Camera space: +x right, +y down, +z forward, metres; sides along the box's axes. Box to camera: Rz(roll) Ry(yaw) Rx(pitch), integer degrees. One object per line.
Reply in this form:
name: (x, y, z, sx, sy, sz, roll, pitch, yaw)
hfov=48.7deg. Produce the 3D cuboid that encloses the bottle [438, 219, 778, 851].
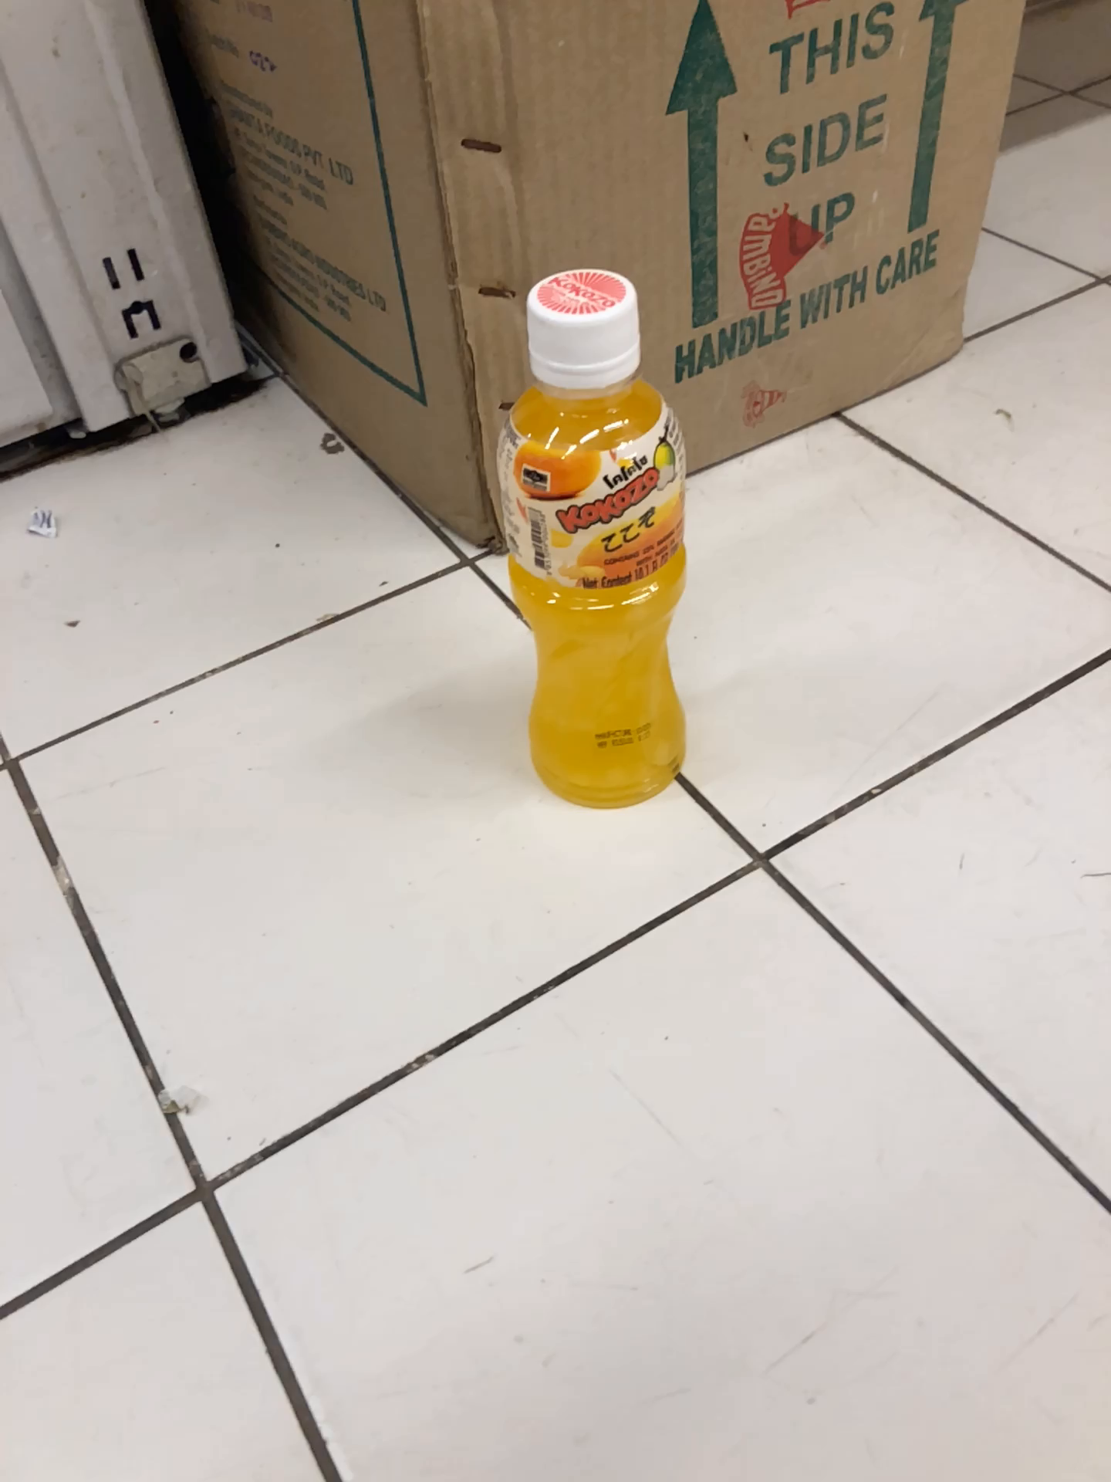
bottle: (0.017, -0.058, 0.393, 0.070, 0.179, 0.070, -2, 45, 3)
